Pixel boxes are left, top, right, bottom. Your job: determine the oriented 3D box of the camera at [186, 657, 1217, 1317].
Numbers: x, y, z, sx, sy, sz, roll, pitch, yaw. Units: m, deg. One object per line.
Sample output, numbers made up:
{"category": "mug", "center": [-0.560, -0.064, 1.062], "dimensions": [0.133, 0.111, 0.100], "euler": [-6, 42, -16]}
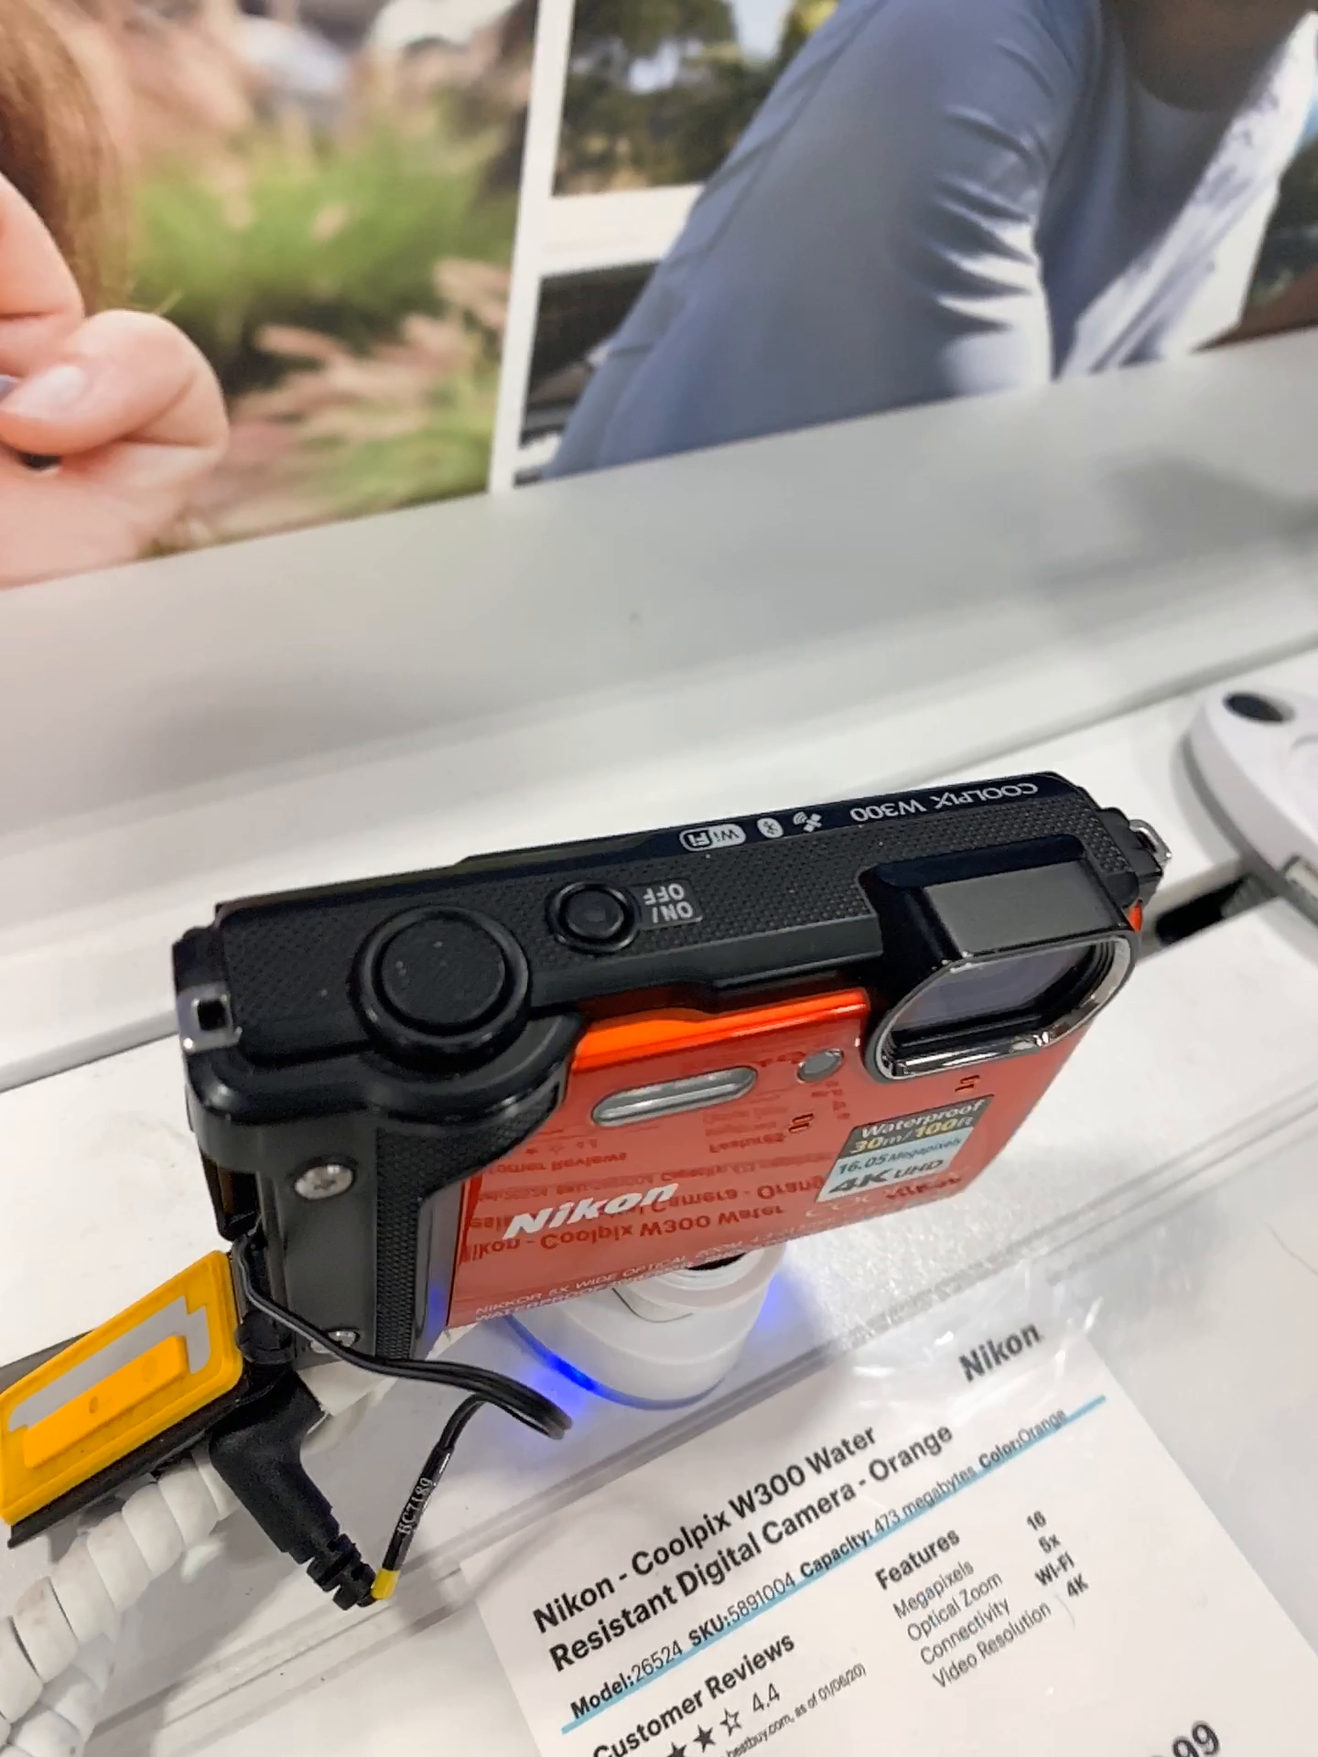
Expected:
{"category": "camera", "center": [0.003, 0.012, 0.164], "dimensions": [0.105, 0.063, 0.025], "euler": [-11, 54, -21]}
